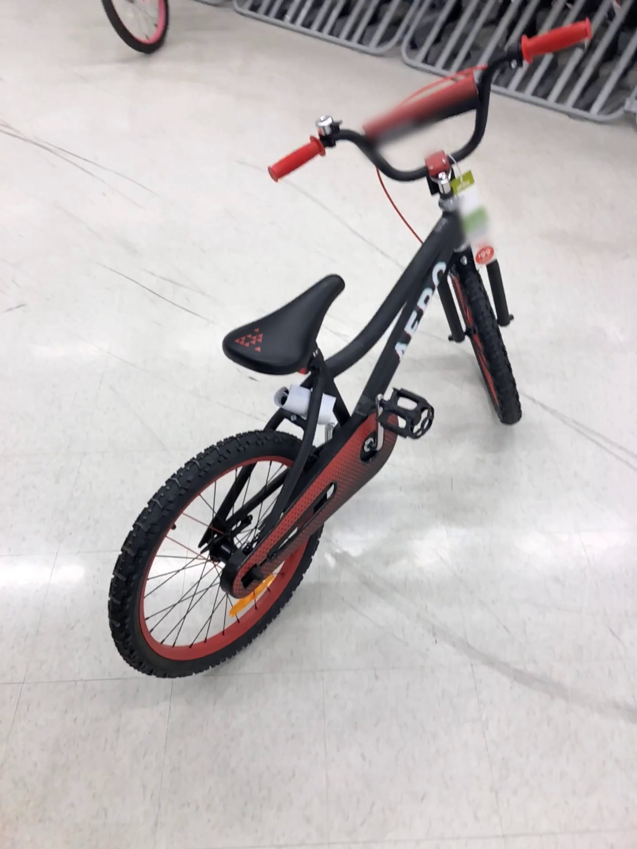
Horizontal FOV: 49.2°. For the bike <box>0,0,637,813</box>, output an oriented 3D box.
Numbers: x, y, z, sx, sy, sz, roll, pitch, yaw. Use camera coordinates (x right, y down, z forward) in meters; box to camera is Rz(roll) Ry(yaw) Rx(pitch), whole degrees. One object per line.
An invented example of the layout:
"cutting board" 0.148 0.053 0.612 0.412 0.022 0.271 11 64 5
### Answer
"bike" 0.014 -0.181 1.322 0.625 0.924 1.251 25 53 23
